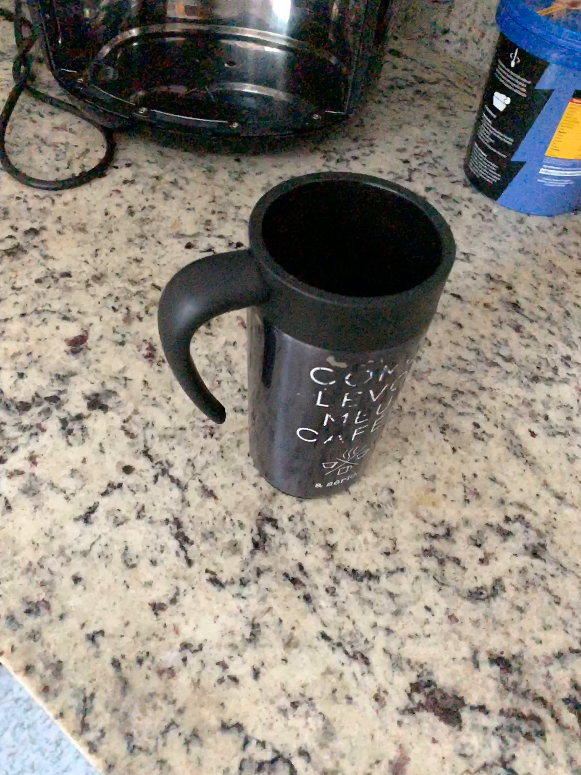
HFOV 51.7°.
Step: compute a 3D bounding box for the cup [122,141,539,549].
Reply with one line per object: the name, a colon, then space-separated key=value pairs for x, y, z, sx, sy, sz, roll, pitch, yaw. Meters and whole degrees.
cup: x=0.006 y=-0.013 z=0.257 sx=0.120 sy=0.139 sz=0.080 roll=-13 pitch=55 yaw=-16
